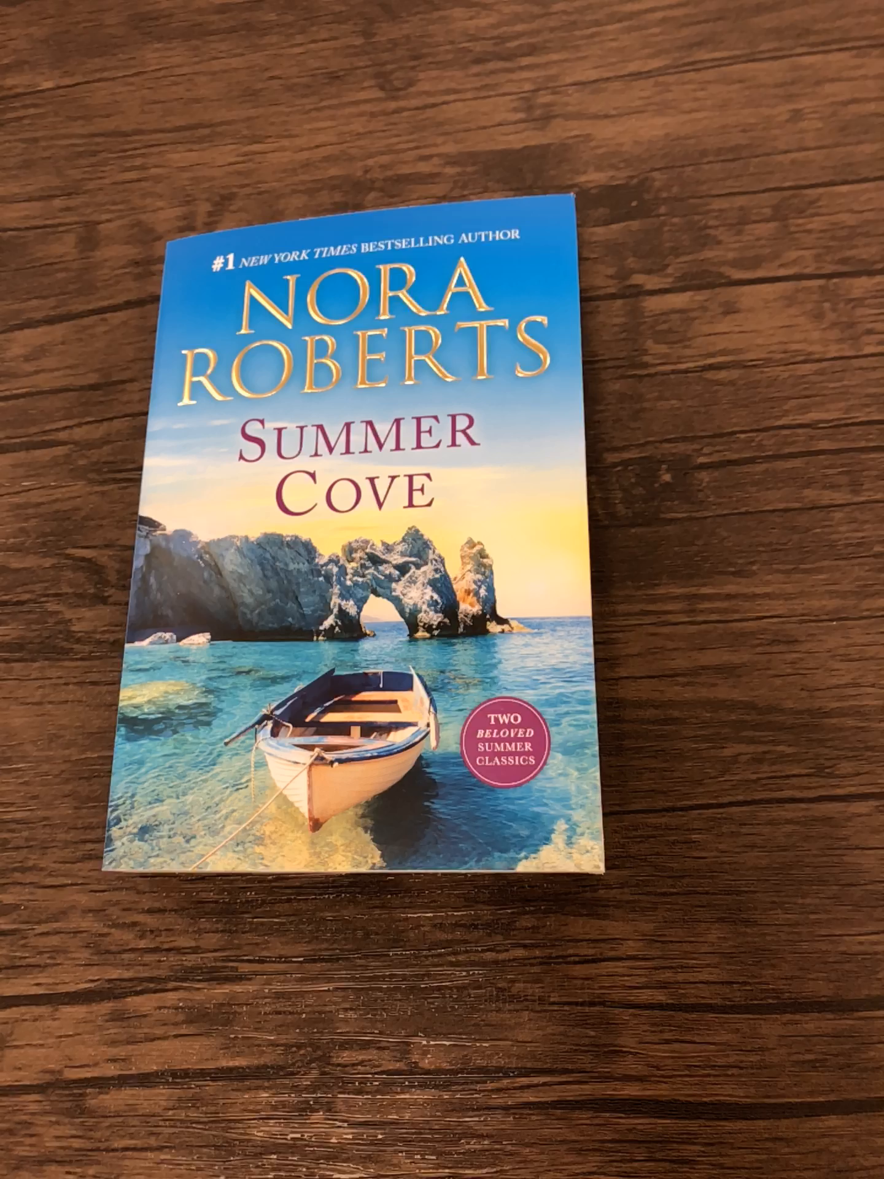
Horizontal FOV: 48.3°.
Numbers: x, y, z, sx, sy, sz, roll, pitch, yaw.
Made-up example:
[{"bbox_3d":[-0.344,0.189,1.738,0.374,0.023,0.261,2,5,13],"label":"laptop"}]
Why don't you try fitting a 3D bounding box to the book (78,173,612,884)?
[{"bbox_3d":[-0.025,-0.020,0.306,0.140,0.043,0.210,-3,72,8],"label":"book"}]
